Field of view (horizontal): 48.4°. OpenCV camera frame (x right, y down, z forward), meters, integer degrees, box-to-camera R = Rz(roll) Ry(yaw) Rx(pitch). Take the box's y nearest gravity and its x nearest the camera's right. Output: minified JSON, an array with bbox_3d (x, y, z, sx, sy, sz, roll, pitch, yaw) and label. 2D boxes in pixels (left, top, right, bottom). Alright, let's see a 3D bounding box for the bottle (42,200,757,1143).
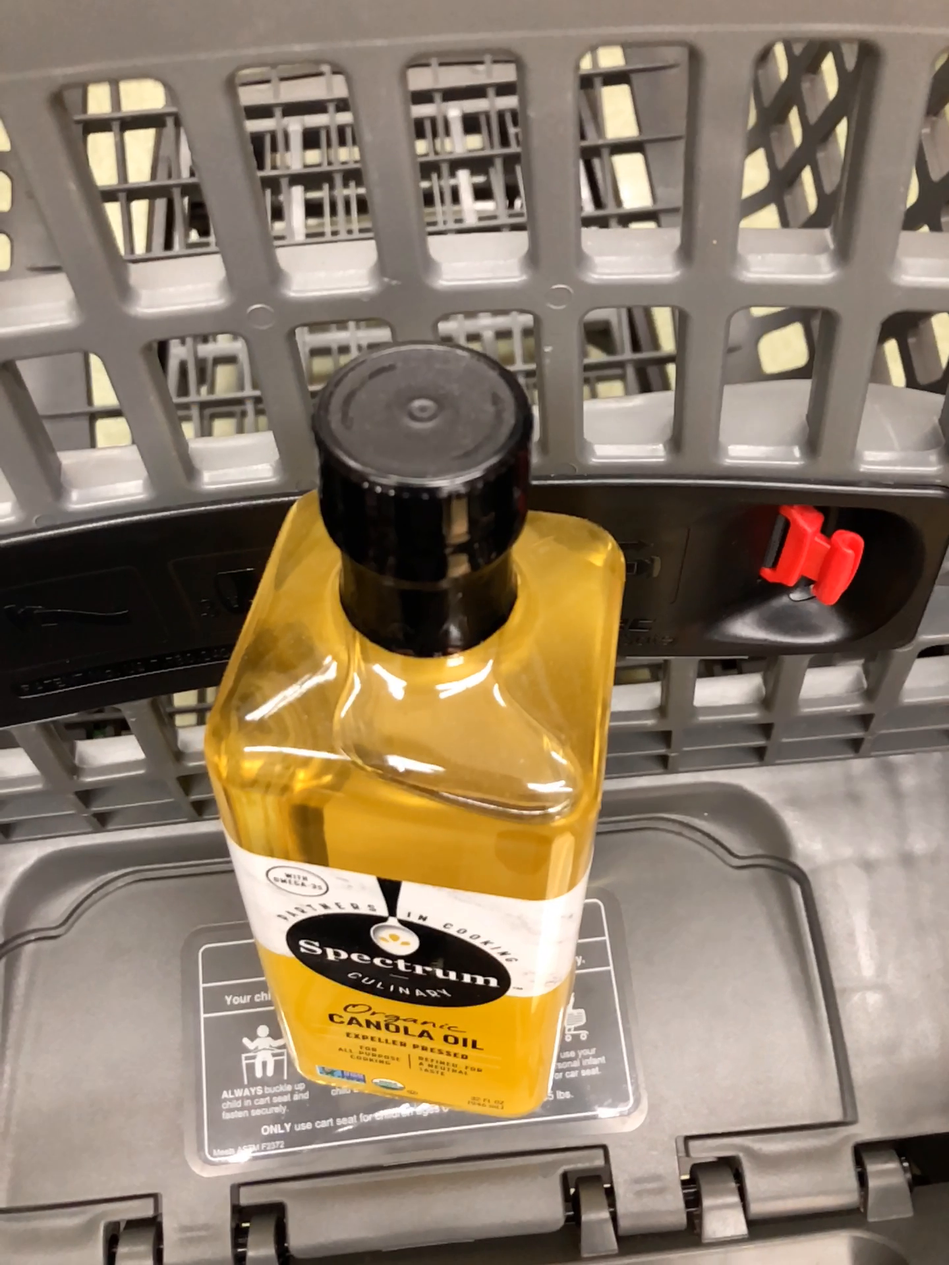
[{"bbox_3d":[-0.005,0.039,0.262,0.090,0.251,0.090,0,52,0],"label":"bottle"}]
